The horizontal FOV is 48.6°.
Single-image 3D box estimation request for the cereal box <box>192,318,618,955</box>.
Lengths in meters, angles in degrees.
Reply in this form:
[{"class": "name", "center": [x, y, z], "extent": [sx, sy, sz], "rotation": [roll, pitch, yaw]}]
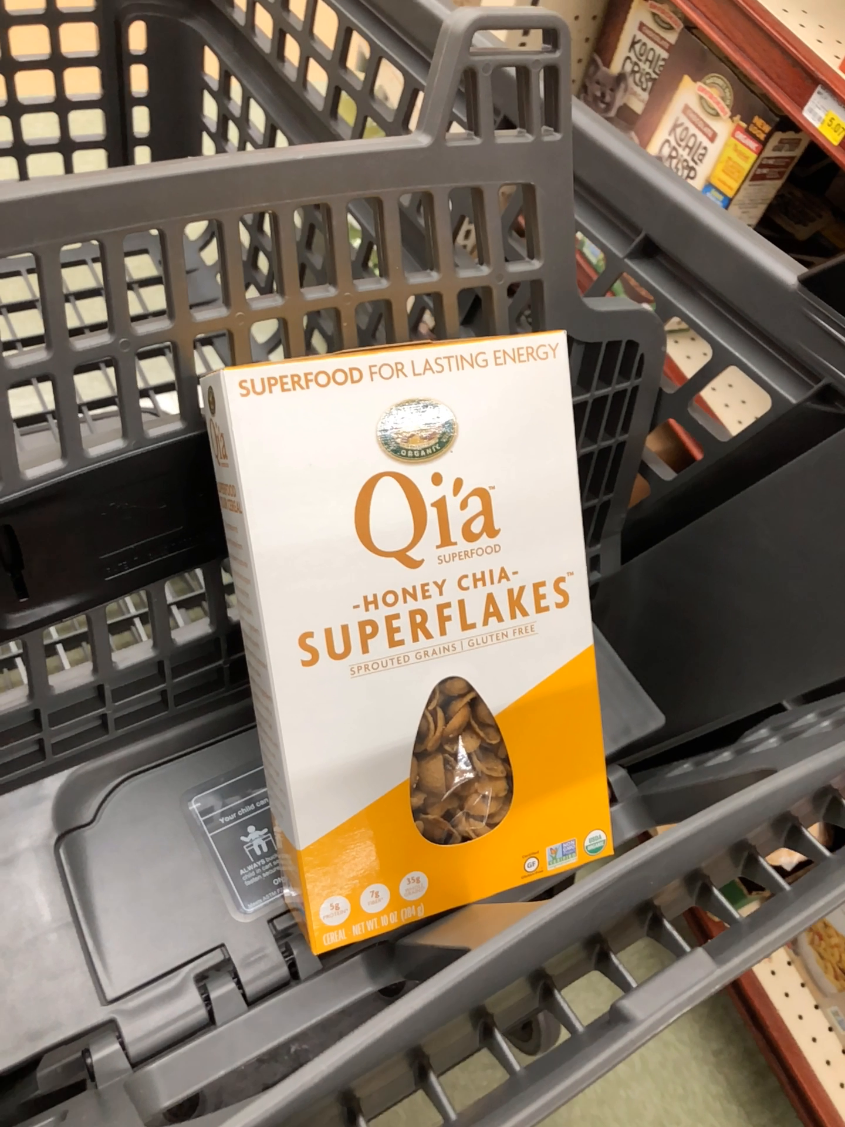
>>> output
[{"class": "cereal box", "center": [-0.004, 0.026, 0.448], "extent": [0.160, 0.070, 0.260], "rotation": [-10, 100, -21]}]
